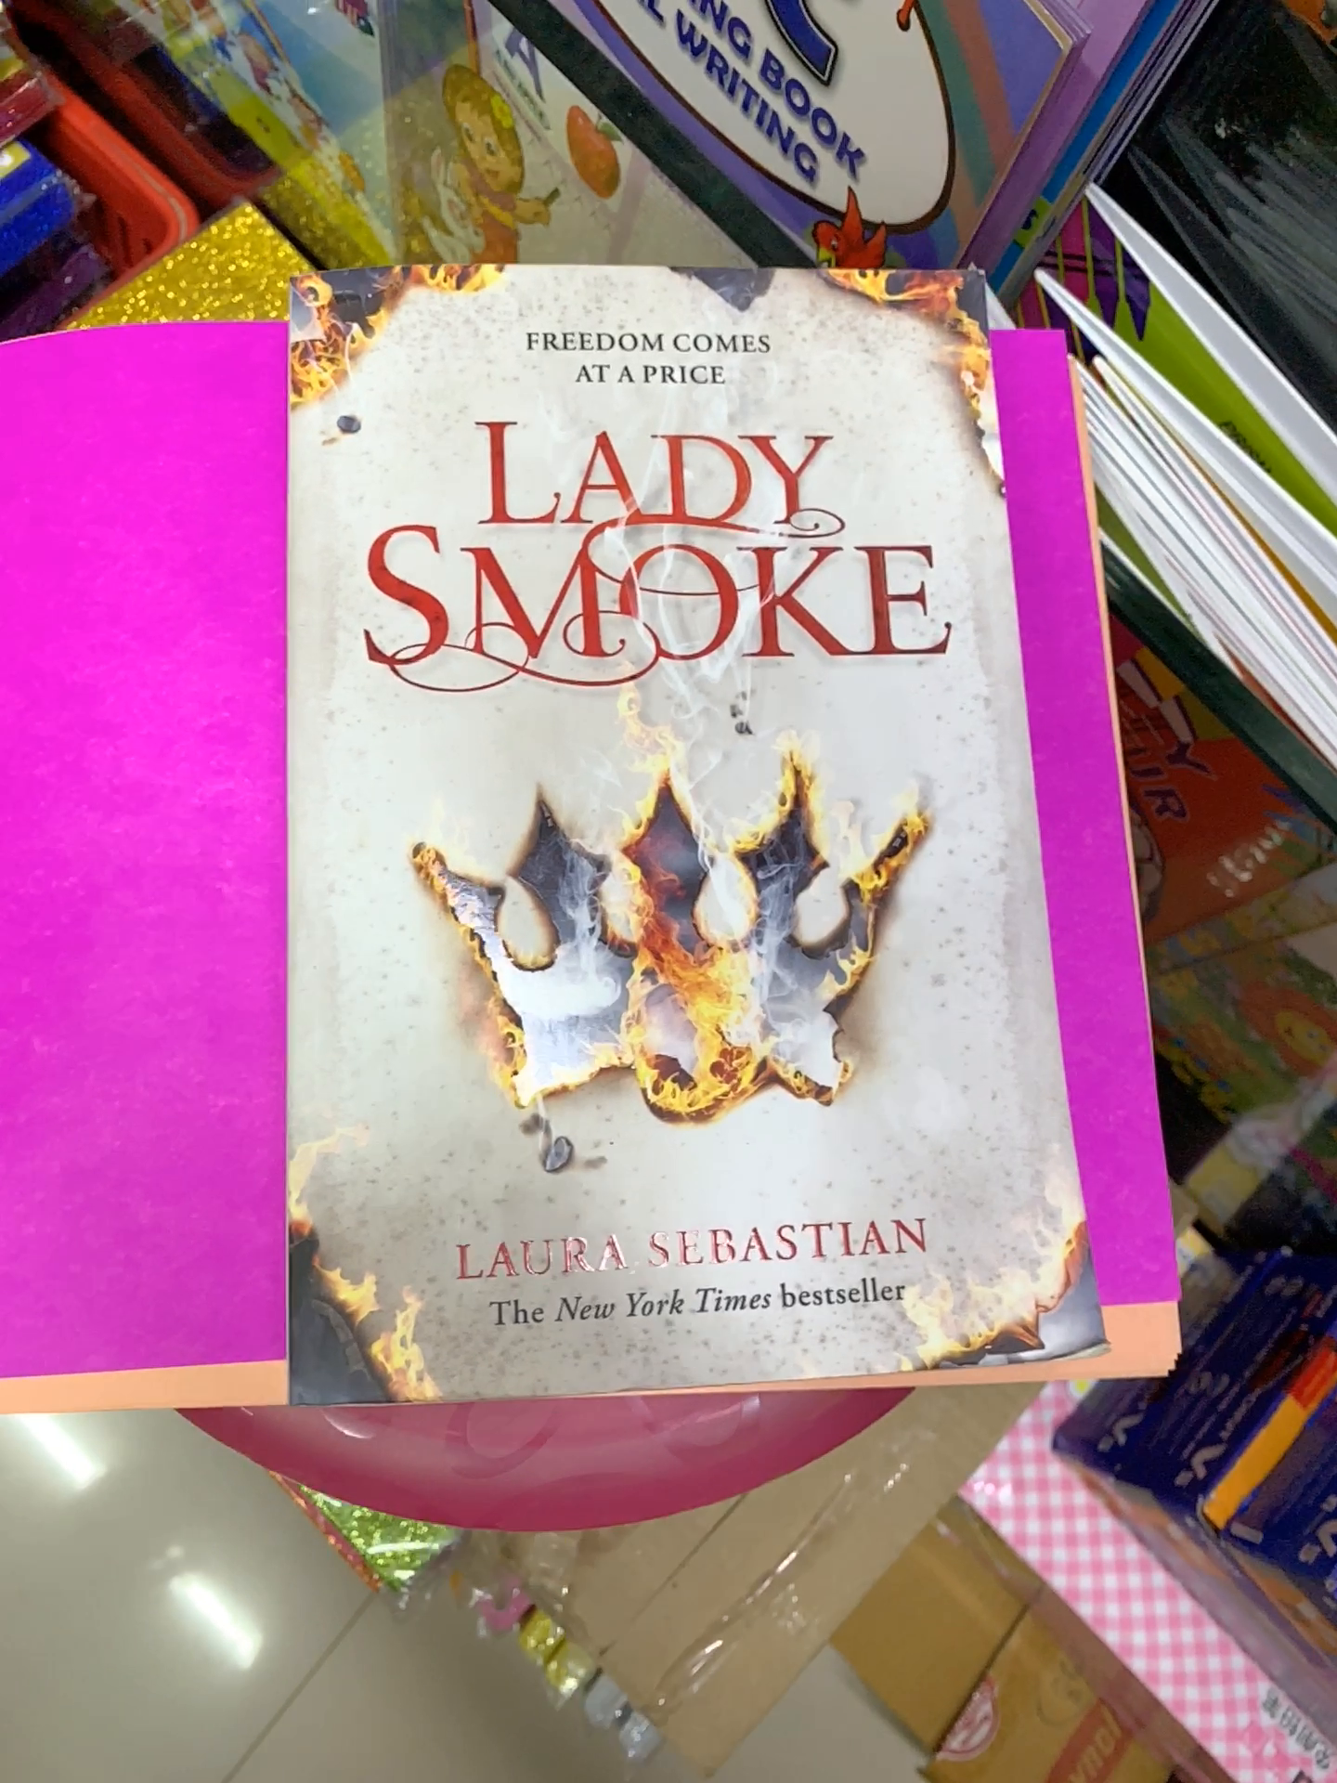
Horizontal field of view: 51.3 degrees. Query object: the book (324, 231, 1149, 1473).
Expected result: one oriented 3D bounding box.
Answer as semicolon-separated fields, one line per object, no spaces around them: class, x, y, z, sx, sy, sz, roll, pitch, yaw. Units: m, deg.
book;0.007;-0.010;0.254;0.130;0.050;0.200;-1;83;-7
